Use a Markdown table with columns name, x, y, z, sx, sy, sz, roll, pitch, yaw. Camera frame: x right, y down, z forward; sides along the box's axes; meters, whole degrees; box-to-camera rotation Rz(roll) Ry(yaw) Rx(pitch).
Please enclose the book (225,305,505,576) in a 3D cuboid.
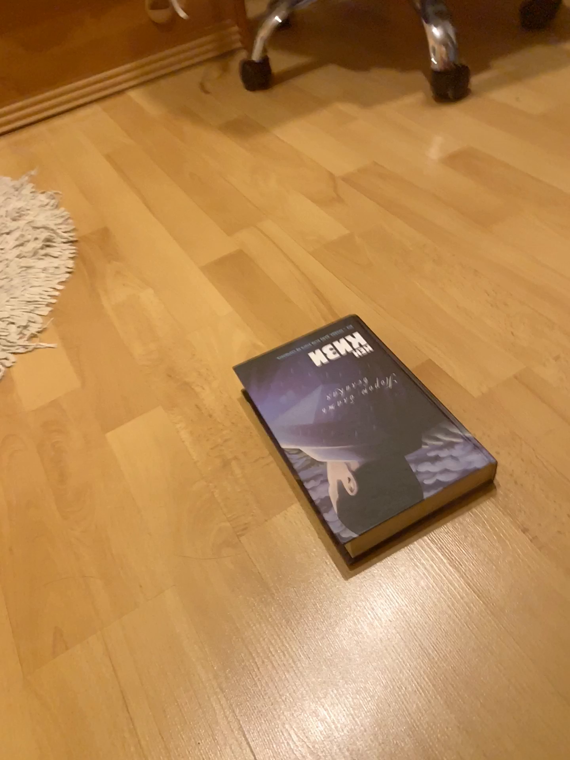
| name | x | y | z | sx | sy | sz | roll | pitch | yaw |
| --- | --- | --- | --- | --- | --- | --- | --- | --- | --- |
| book | 0.061 | 0.039 | 0.537 | 0.150 | 0.050 | 0.225 | -24 | 48 | -13 |
